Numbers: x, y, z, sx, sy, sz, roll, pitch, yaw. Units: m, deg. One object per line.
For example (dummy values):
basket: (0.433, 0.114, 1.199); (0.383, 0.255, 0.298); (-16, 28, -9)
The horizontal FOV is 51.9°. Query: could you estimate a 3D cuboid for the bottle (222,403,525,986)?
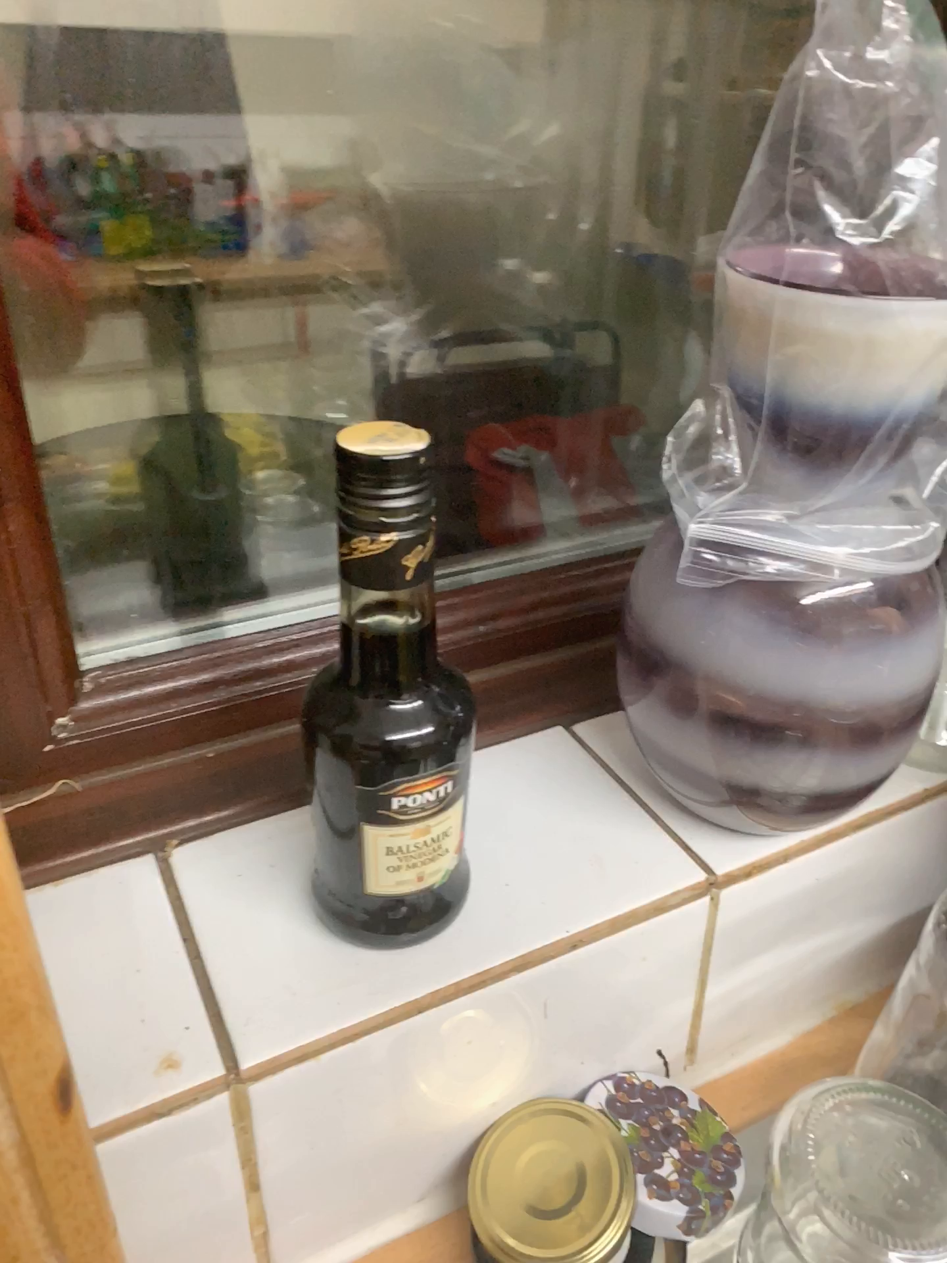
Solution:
bottle: (-0.034, 0.022, 0.338); (0.070, 0.178, 0.071); (1, 29, -1)
